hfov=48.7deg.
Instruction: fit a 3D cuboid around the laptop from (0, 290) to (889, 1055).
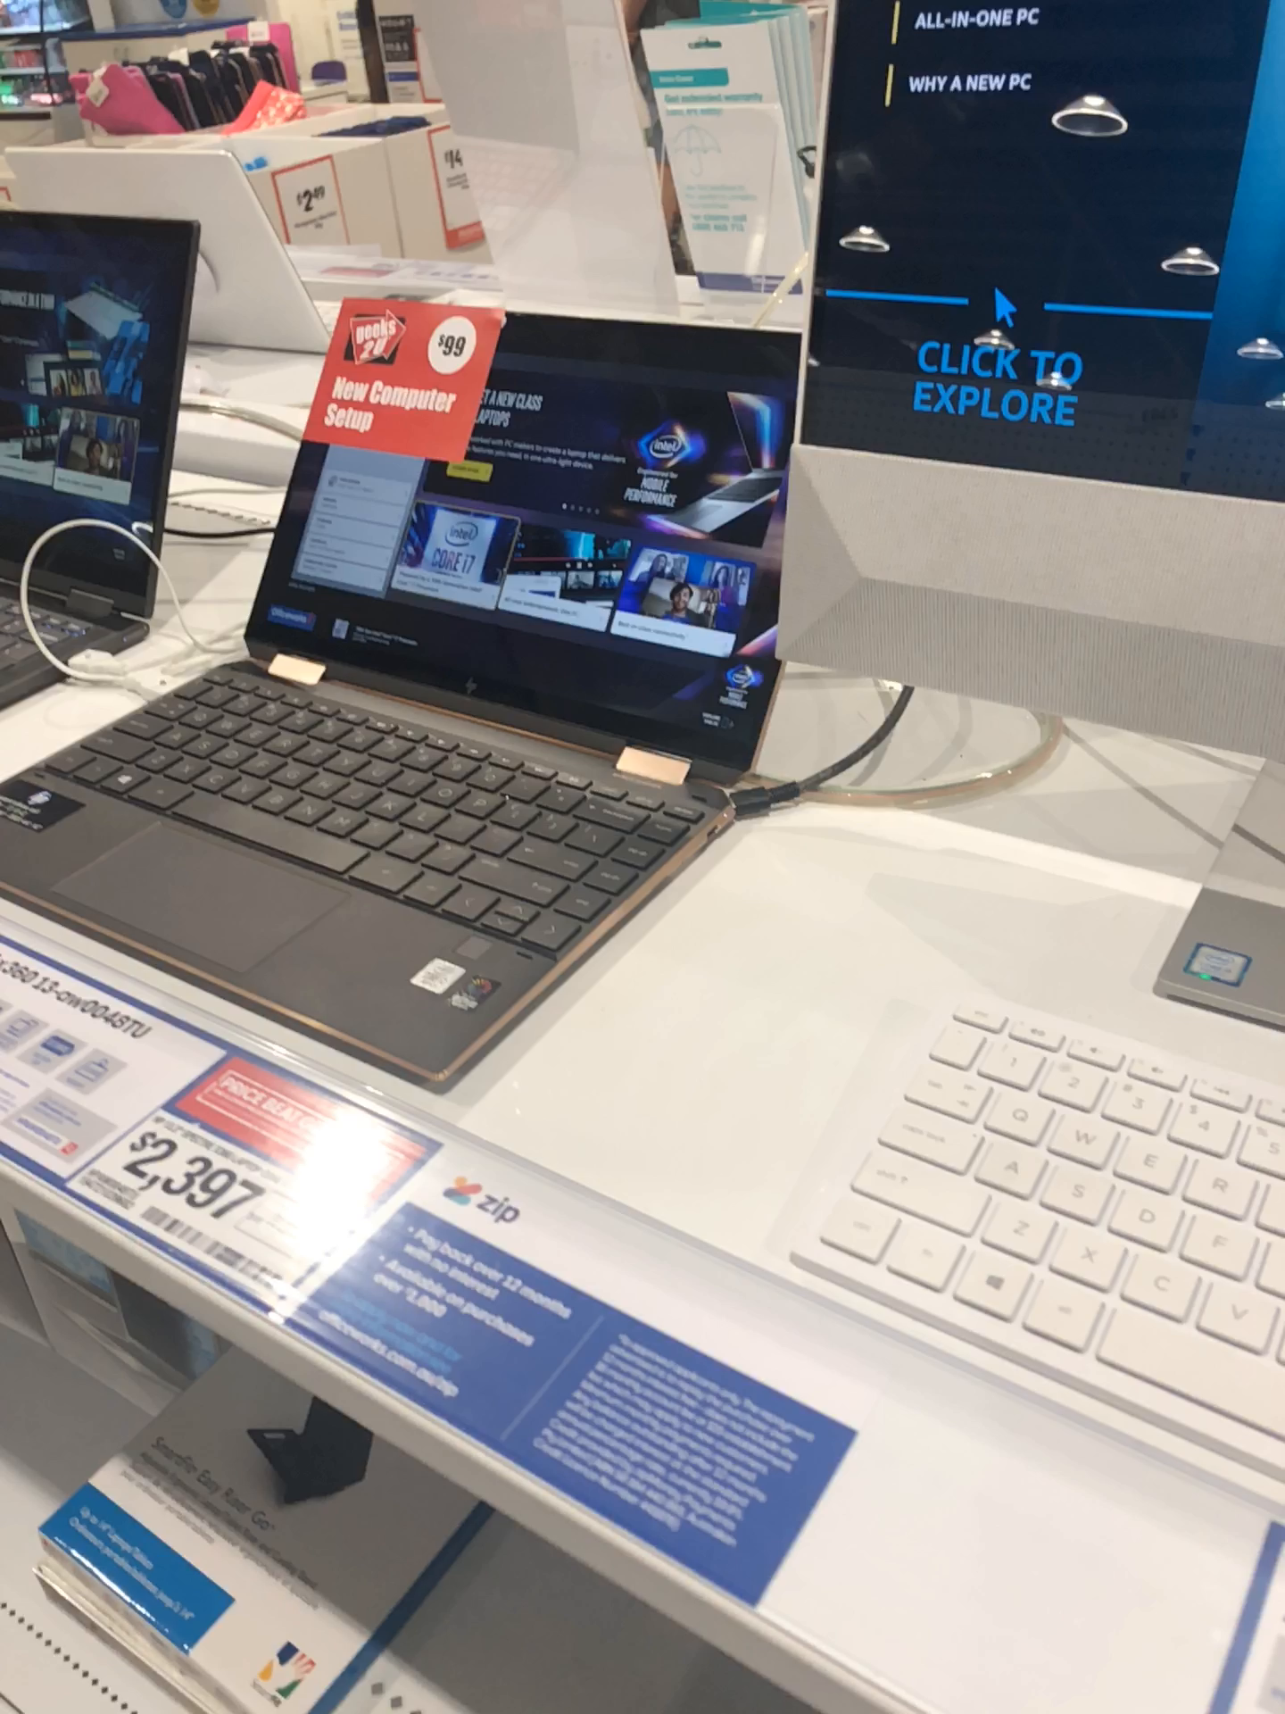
[{"bbox_3d":[-0.103,-0.115,0.589,0.298,0.147,0.315,16,40,31],"label":"laptop"}]
